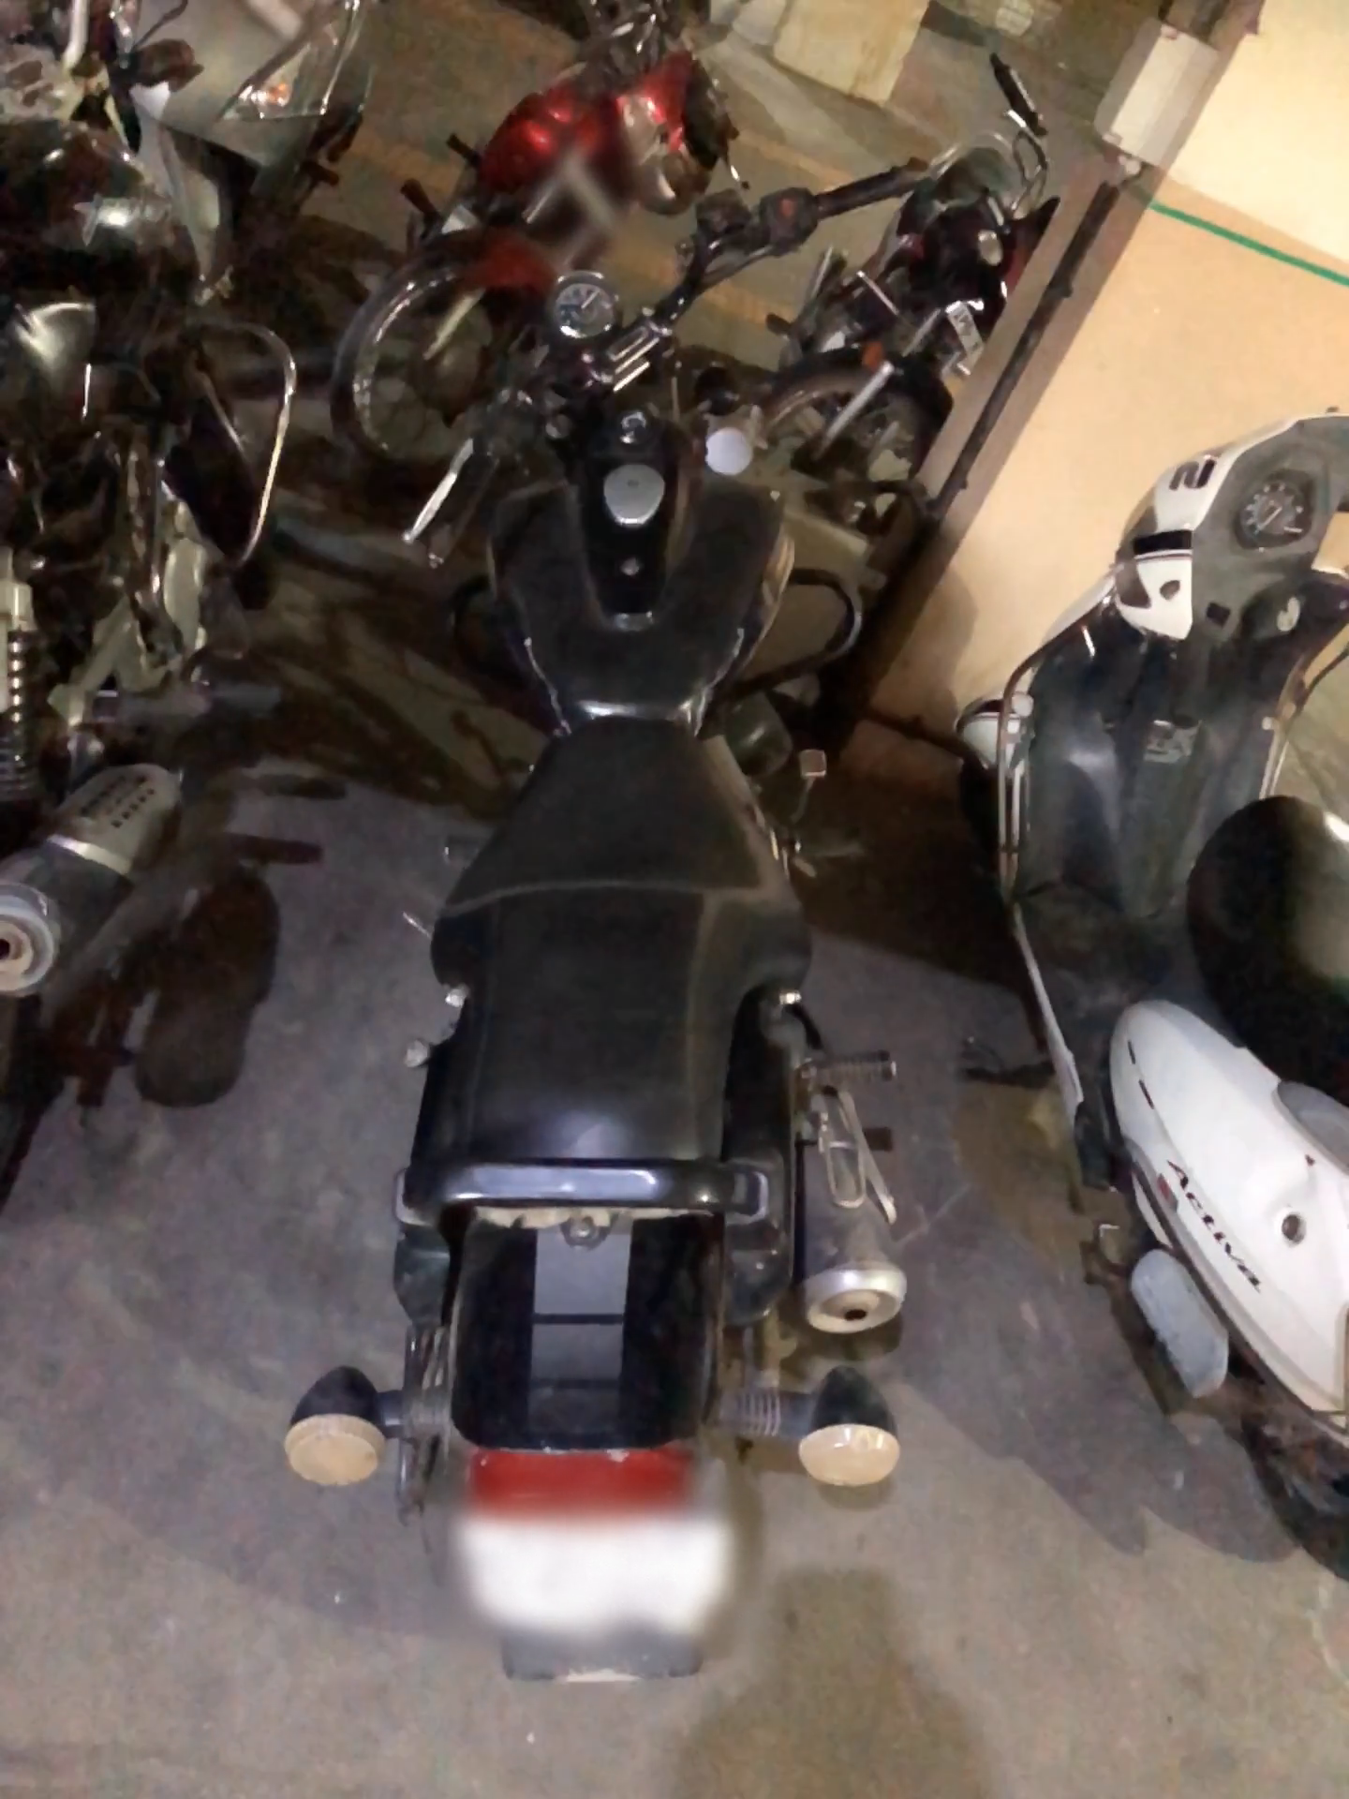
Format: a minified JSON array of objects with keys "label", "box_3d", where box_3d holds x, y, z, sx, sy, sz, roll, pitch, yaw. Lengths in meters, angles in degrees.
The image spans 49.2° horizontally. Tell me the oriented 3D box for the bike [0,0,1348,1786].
[{"label":"bike","box_3d":[-0.182,-0.227,1.628,0.863,1.251,1.677,13,40,-18]}]
